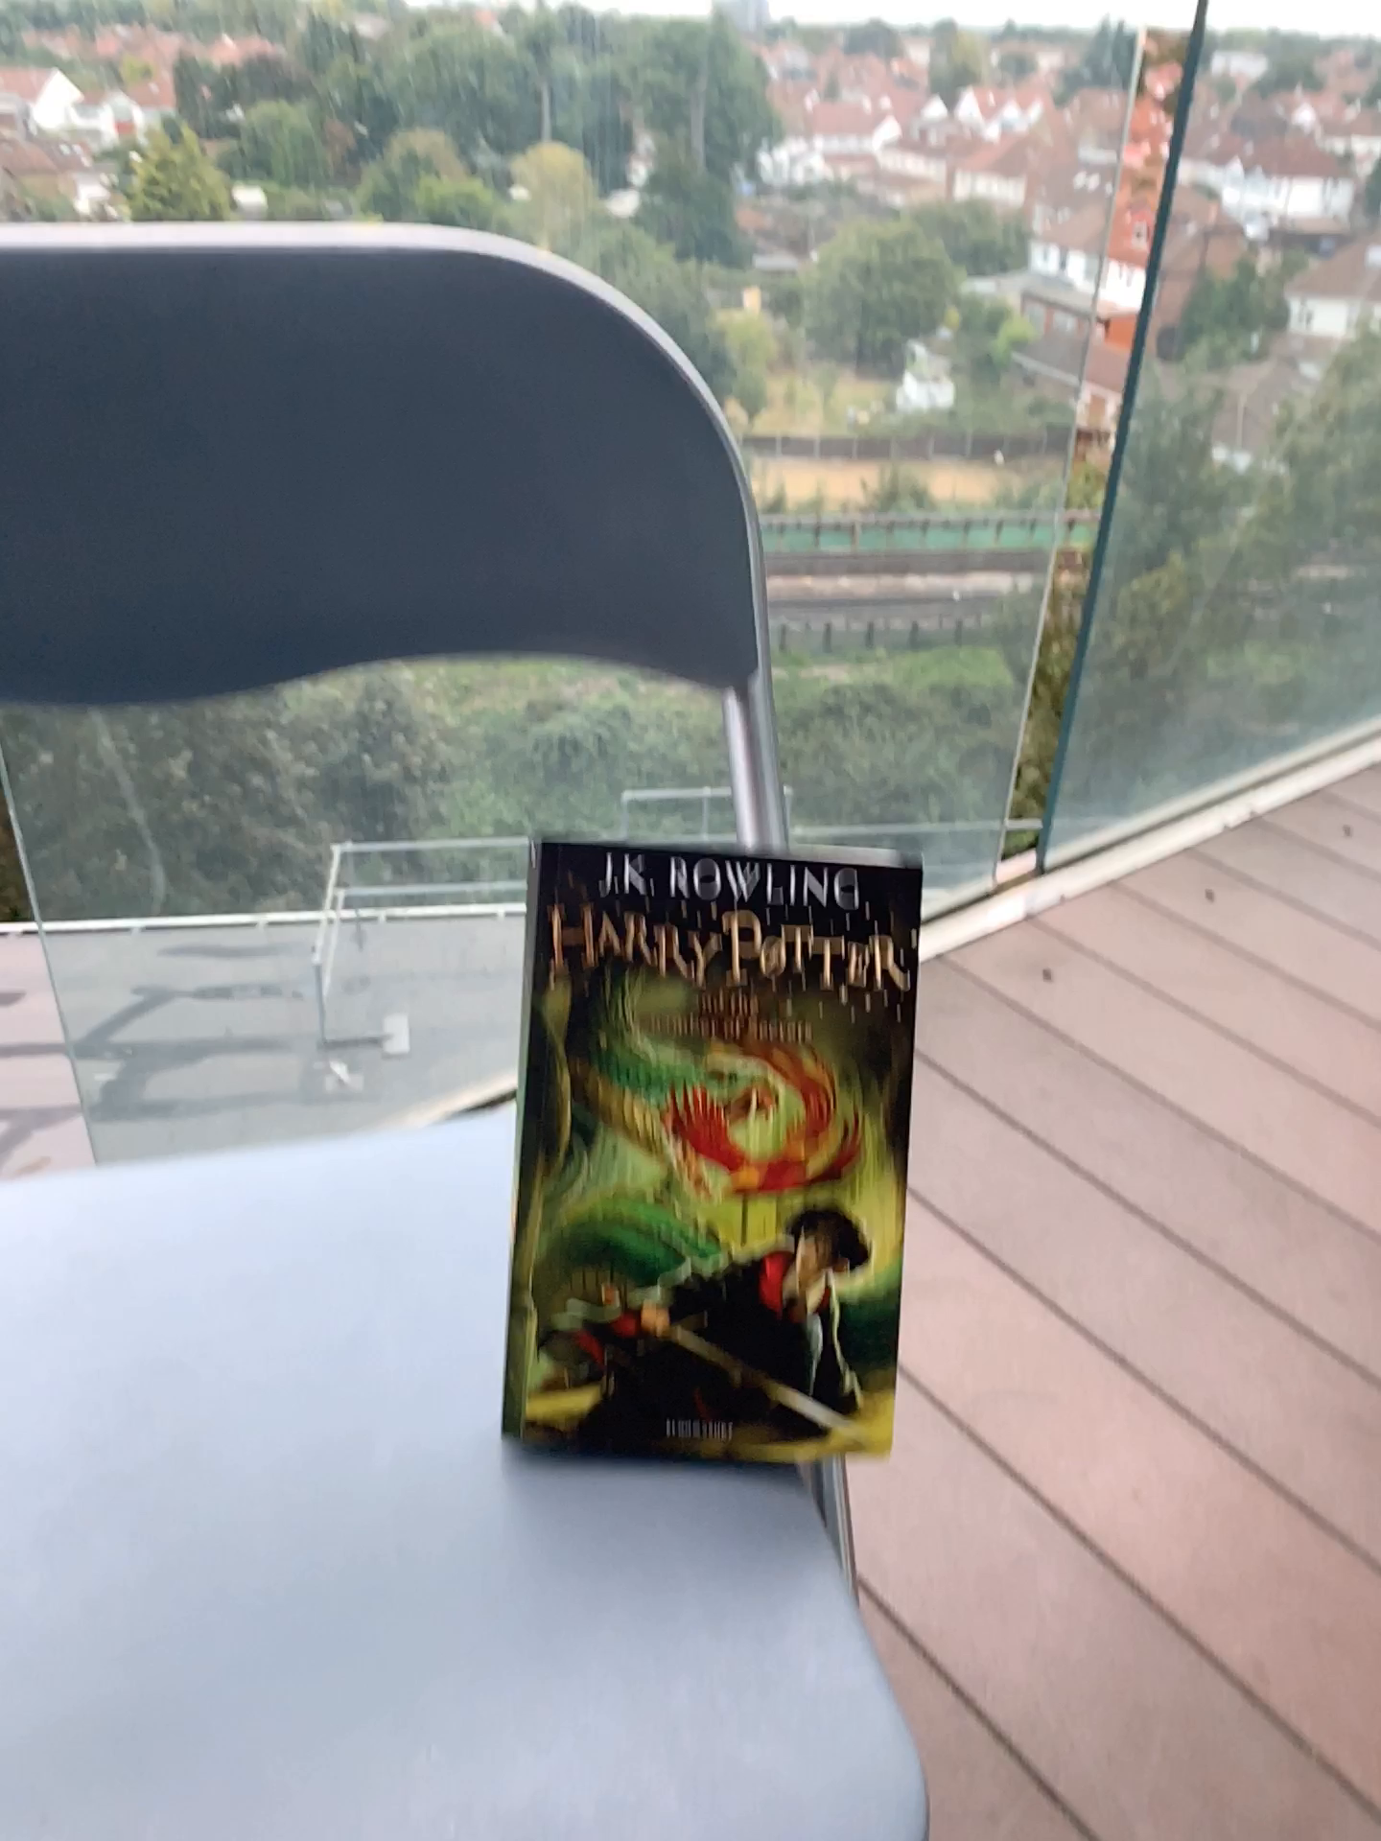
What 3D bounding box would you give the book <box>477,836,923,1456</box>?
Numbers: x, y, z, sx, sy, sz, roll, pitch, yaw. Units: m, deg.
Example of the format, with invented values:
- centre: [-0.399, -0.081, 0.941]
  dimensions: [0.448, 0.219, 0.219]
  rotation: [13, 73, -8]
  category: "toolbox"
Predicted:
- centre: [0.002, 0.073, 0.481]
  dimensions: [0.140, 0.200, 0.040]
  rotation: [1, 2, -1]
  category: "book"
